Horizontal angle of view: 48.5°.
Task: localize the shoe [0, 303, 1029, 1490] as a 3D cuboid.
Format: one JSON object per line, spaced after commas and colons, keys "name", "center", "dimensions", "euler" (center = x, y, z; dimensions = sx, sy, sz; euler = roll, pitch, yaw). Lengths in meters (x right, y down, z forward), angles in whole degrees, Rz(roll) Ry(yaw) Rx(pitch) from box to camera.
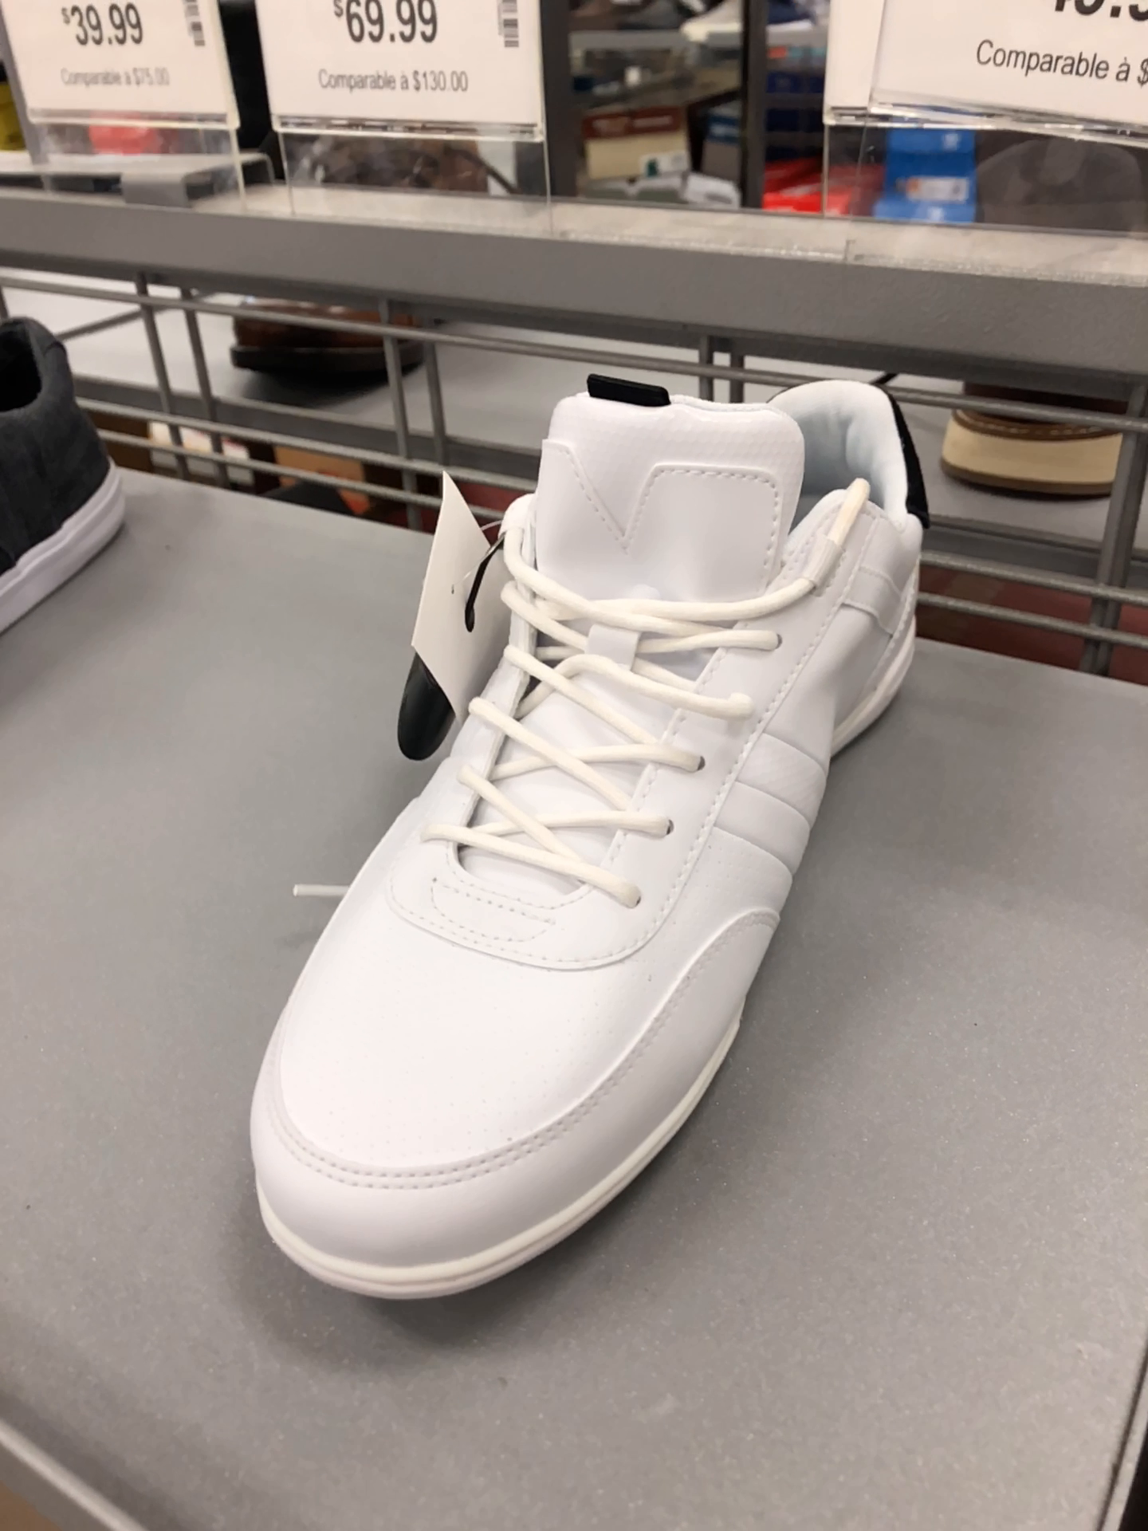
{"name": "shoe", "center": [0.016, -0.011, 0.300], "dimensions": [0.110, 0.119, 0.272], "euler": [13, 36, 24]}
